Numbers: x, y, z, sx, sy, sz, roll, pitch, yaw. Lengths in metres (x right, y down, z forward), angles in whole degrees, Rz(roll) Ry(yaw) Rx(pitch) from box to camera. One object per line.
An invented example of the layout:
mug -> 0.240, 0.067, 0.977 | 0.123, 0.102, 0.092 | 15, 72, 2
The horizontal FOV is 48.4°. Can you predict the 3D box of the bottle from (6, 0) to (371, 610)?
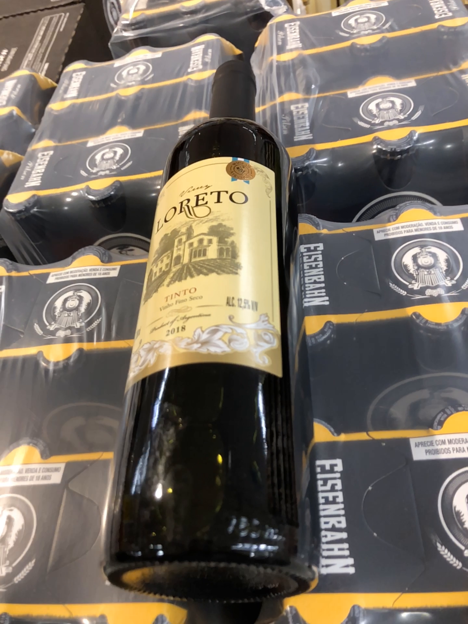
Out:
bottle -> -0.005, -0.050, 0.256 | 0.080, 0.080, 0.332 | -15, 49, 20
